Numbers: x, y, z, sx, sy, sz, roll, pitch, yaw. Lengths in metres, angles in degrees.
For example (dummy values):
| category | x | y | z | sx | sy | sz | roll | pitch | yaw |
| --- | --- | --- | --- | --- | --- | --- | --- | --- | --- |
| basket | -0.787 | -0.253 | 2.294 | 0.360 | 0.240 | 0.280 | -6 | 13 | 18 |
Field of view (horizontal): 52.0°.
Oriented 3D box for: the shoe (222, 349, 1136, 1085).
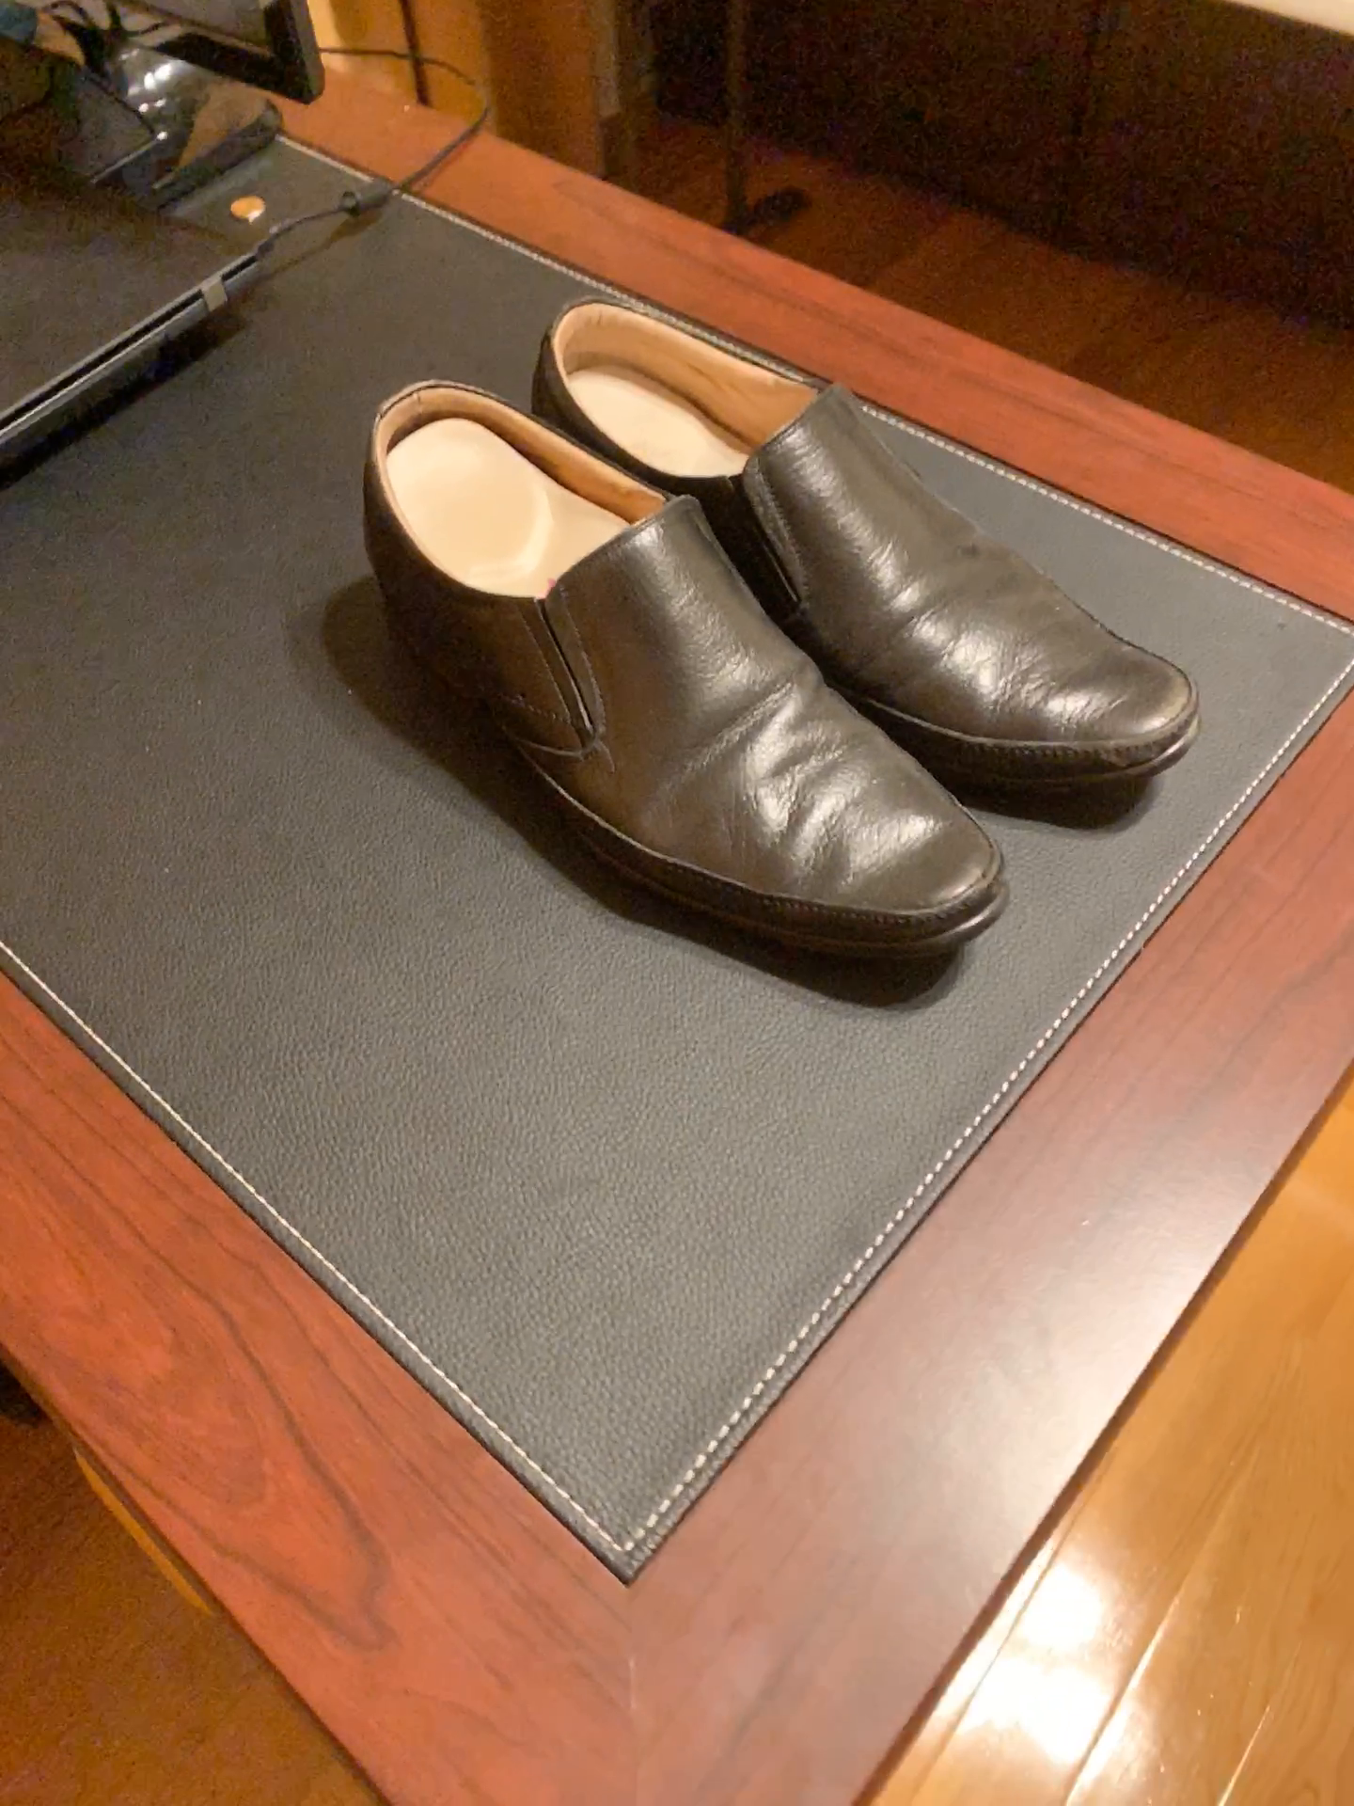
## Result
| category | x | y | z | sx | sy | sz | roll | pitch | yaw |
| --- | --- | --- | --- | --- | --- | --- | --- | --- | --- |
| shoe | -0.009 | -0.076 | 0.466 | 0.285 | 0.077 | 0.110 | 34 | 63 | 24 |

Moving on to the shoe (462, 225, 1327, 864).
| category | x | y | z | sx | sy | sz | roll | pitch | yaw |
| --- | --- | --- | --- | --- | --- | --- | --- | --- | --- |
| shoe | 0.065 | -0.142 | 0.505 | 0.285 | 0.077 | 0.106 | 34 | 63 | 24 |
